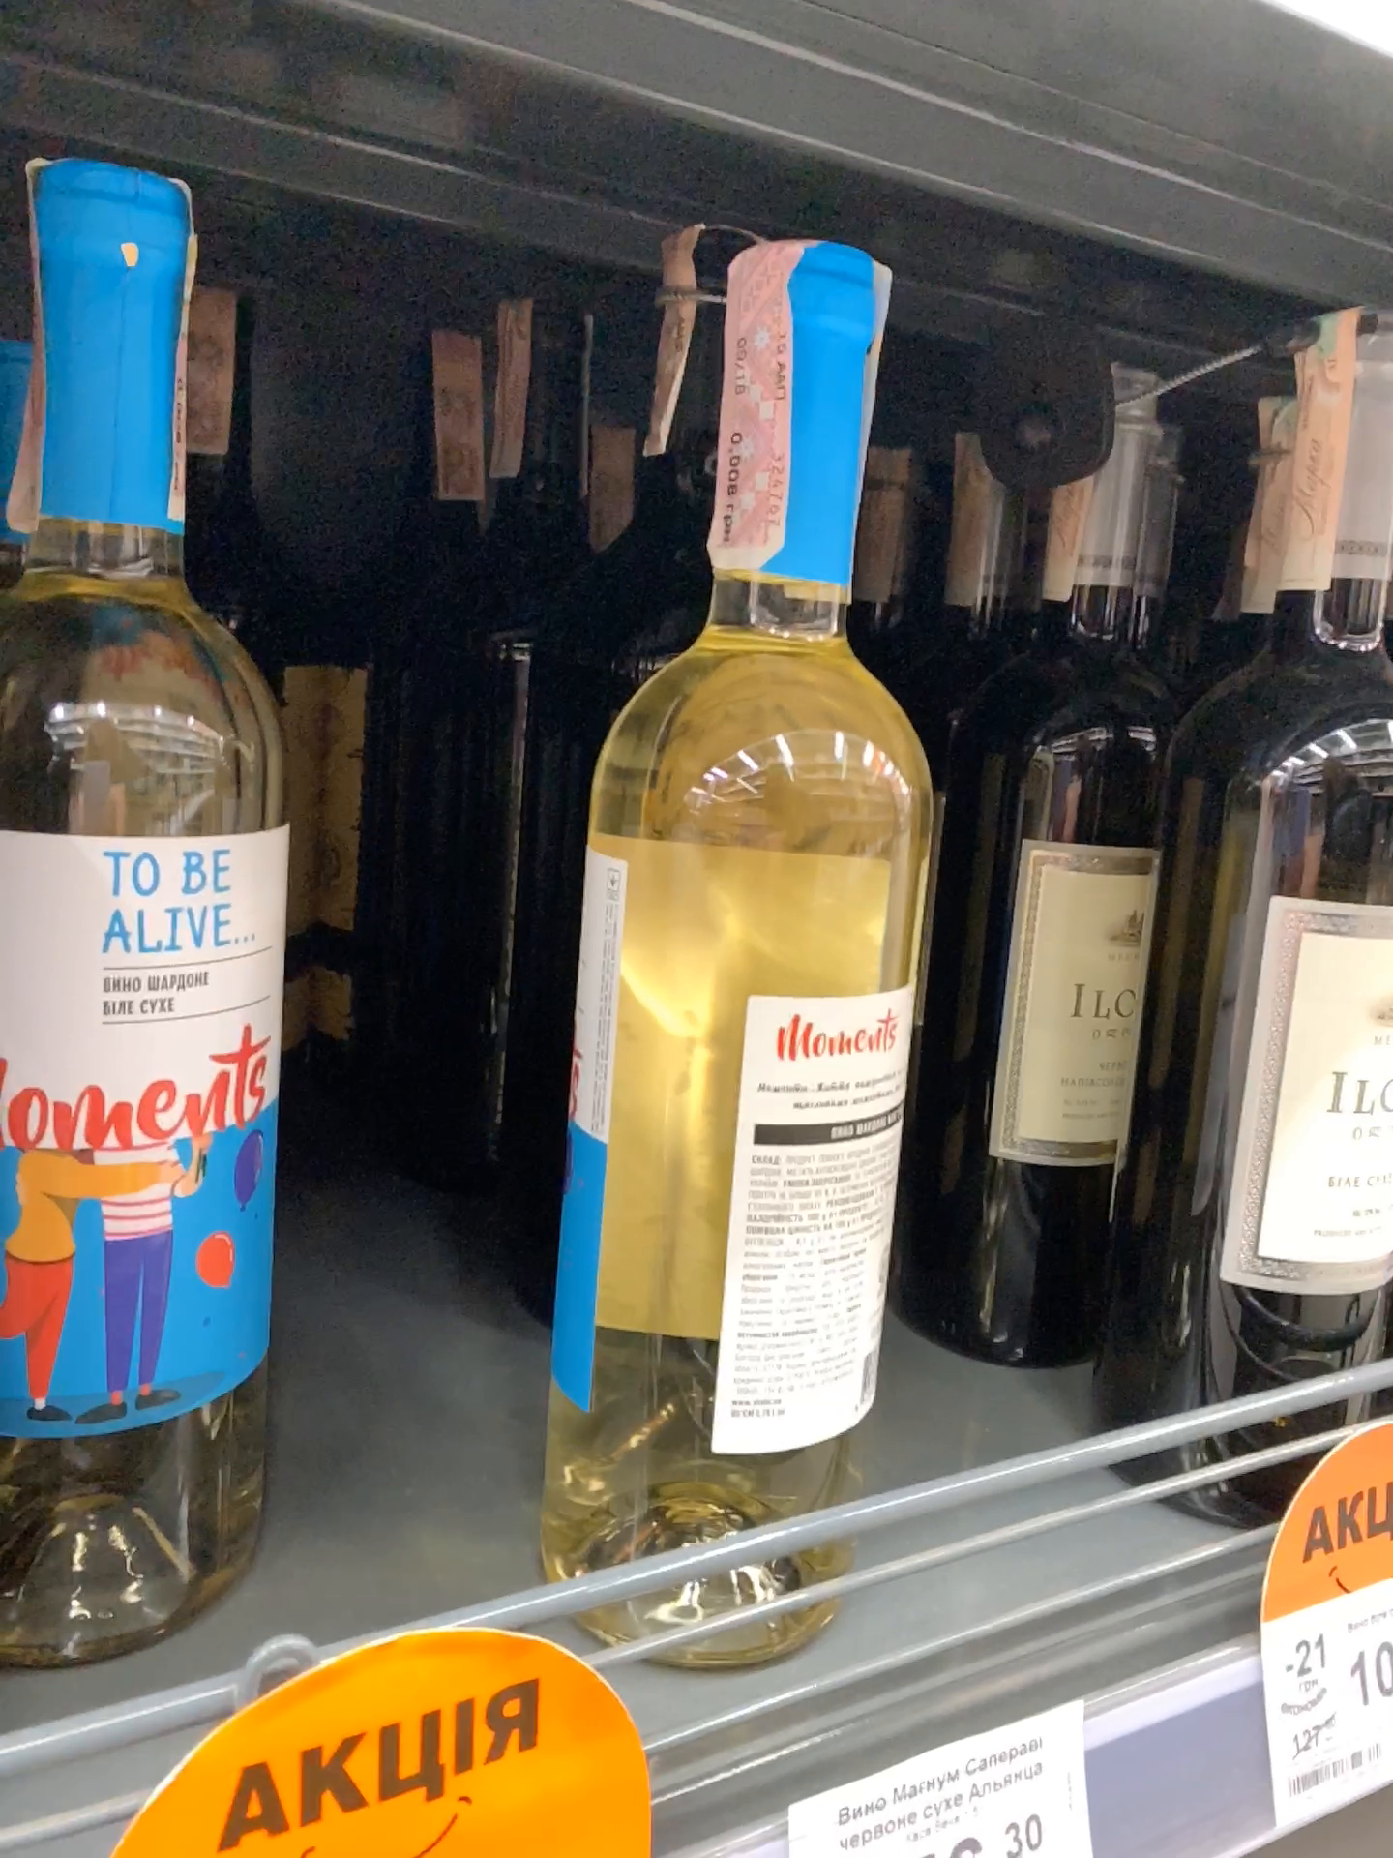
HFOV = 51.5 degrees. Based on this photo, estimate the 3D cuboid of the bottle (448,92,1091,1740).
[{"bbox_3d":[0.011,0.002,0.325,0.081,0.313,0.080,5,11,-1],"label":"bottle"}]
